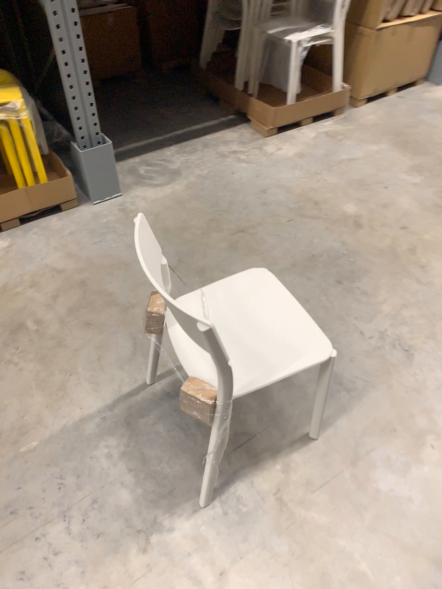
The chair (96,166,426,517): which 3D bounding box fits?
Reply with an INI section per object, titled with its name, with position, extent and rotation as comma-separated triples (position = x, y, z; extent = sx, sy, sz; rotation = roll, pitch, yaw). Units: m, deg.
[chair]
position = 0.059, 0.114, 1.206
extent = 0.530, 0.618, 0.522
rotation = -21, 49, -20
